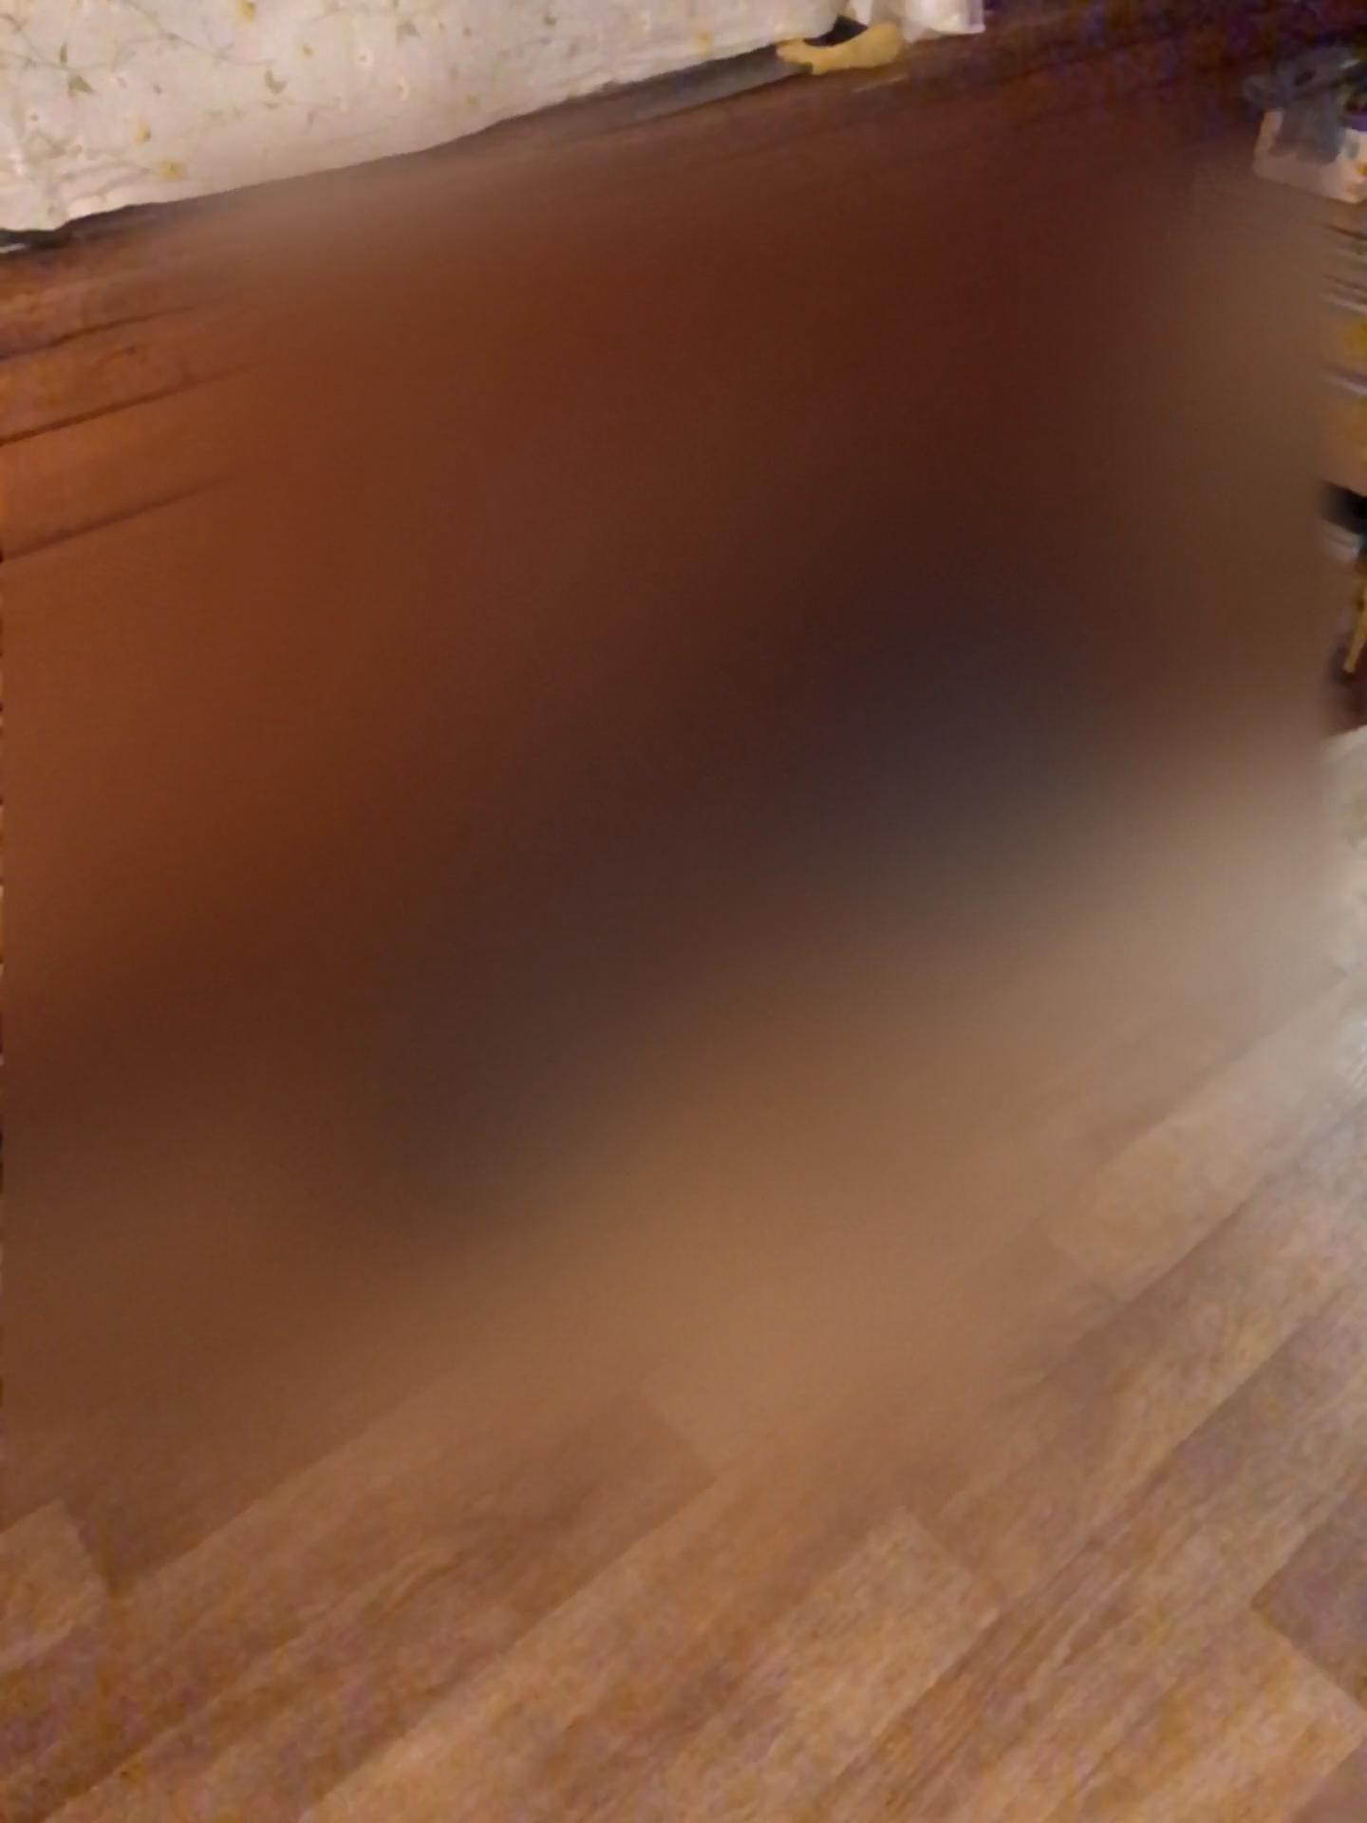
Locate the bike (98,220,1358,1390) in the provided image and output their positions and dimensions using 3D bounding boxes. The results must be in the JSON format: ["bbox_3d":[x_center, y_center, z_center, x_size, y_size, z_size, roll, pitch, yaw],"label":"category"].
[{"bbox_3d":[0.071,-0.179,1.516,0.958,0.697,0.595,-27,48,-27],"label":"bike"}]
